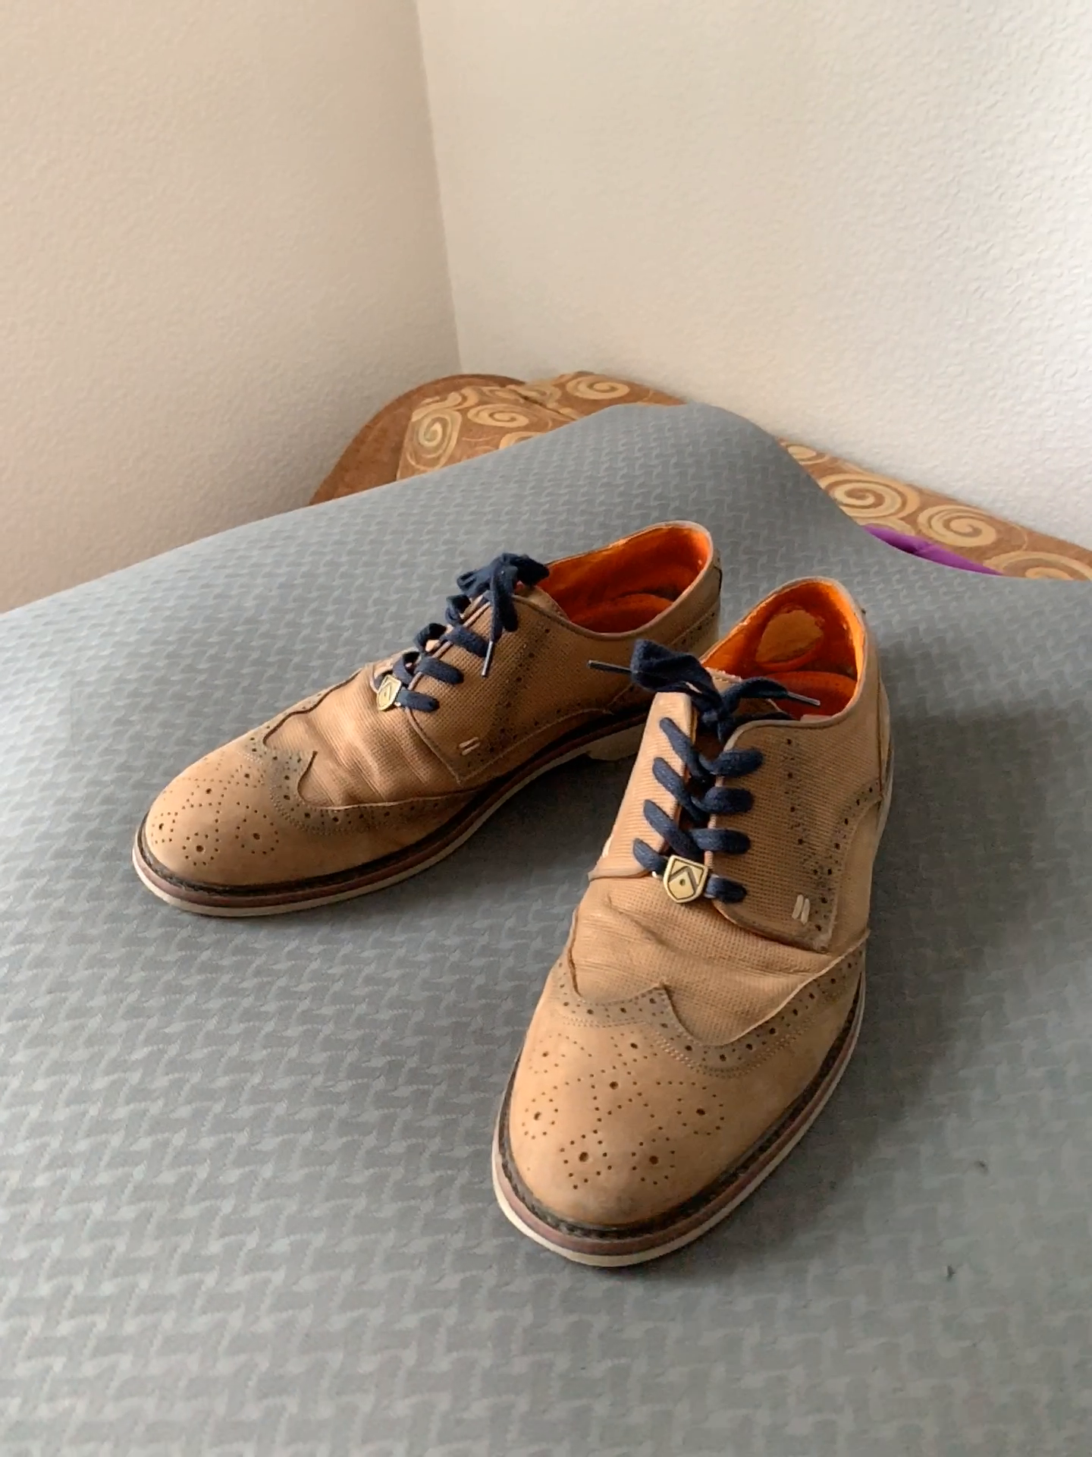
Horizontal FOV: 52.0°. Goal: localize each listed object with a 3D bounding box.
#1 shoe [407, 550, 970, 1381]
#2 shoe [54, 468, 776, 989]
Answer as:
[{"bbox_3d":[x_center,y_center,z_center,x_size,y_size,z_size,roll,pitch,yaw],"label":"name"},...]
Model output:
[{"bbox_3d":[0.073,0.053,0.413,0.110,0.090,0.291,12,42,20],"label":"shoe"},{"bbox_3d":[-0.048,-0.015,0.518,0.300,0.090,0.111,-25,43,-22],"label":"shoe"}]
